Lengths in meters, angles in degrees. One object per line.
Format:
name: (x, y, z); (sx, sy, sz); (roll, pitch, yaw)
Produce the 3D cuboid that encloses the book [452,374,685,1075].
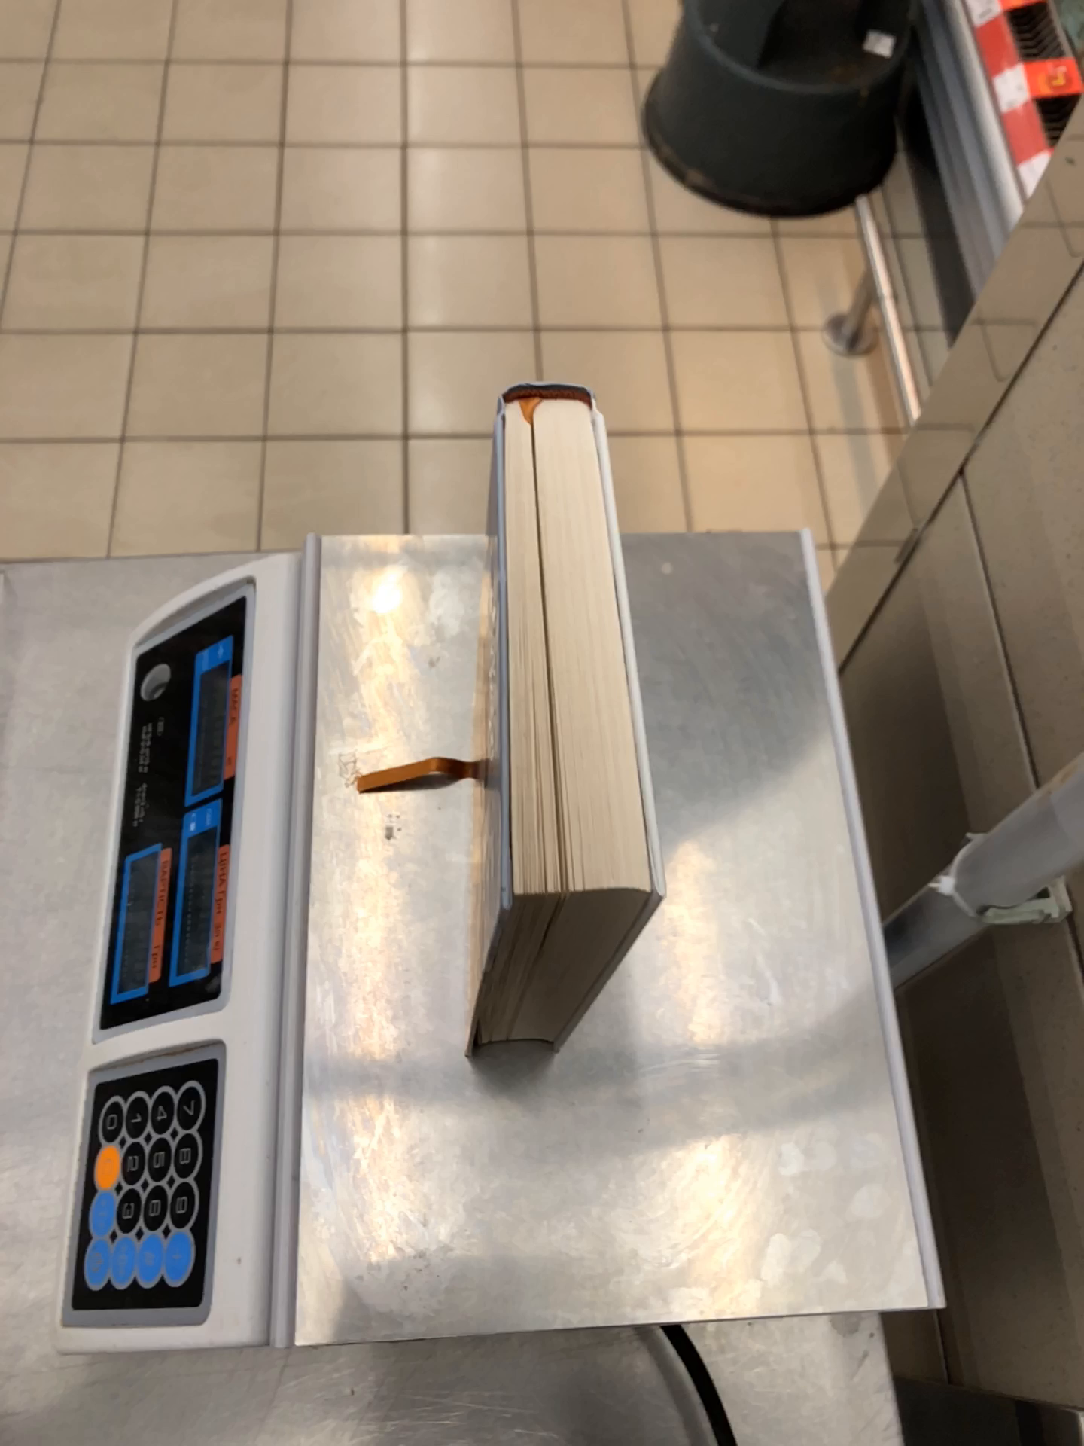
book: (-0.003, 0.016, 0.349); (0.037, 0.186, 0.137); (0, 65, -6)
